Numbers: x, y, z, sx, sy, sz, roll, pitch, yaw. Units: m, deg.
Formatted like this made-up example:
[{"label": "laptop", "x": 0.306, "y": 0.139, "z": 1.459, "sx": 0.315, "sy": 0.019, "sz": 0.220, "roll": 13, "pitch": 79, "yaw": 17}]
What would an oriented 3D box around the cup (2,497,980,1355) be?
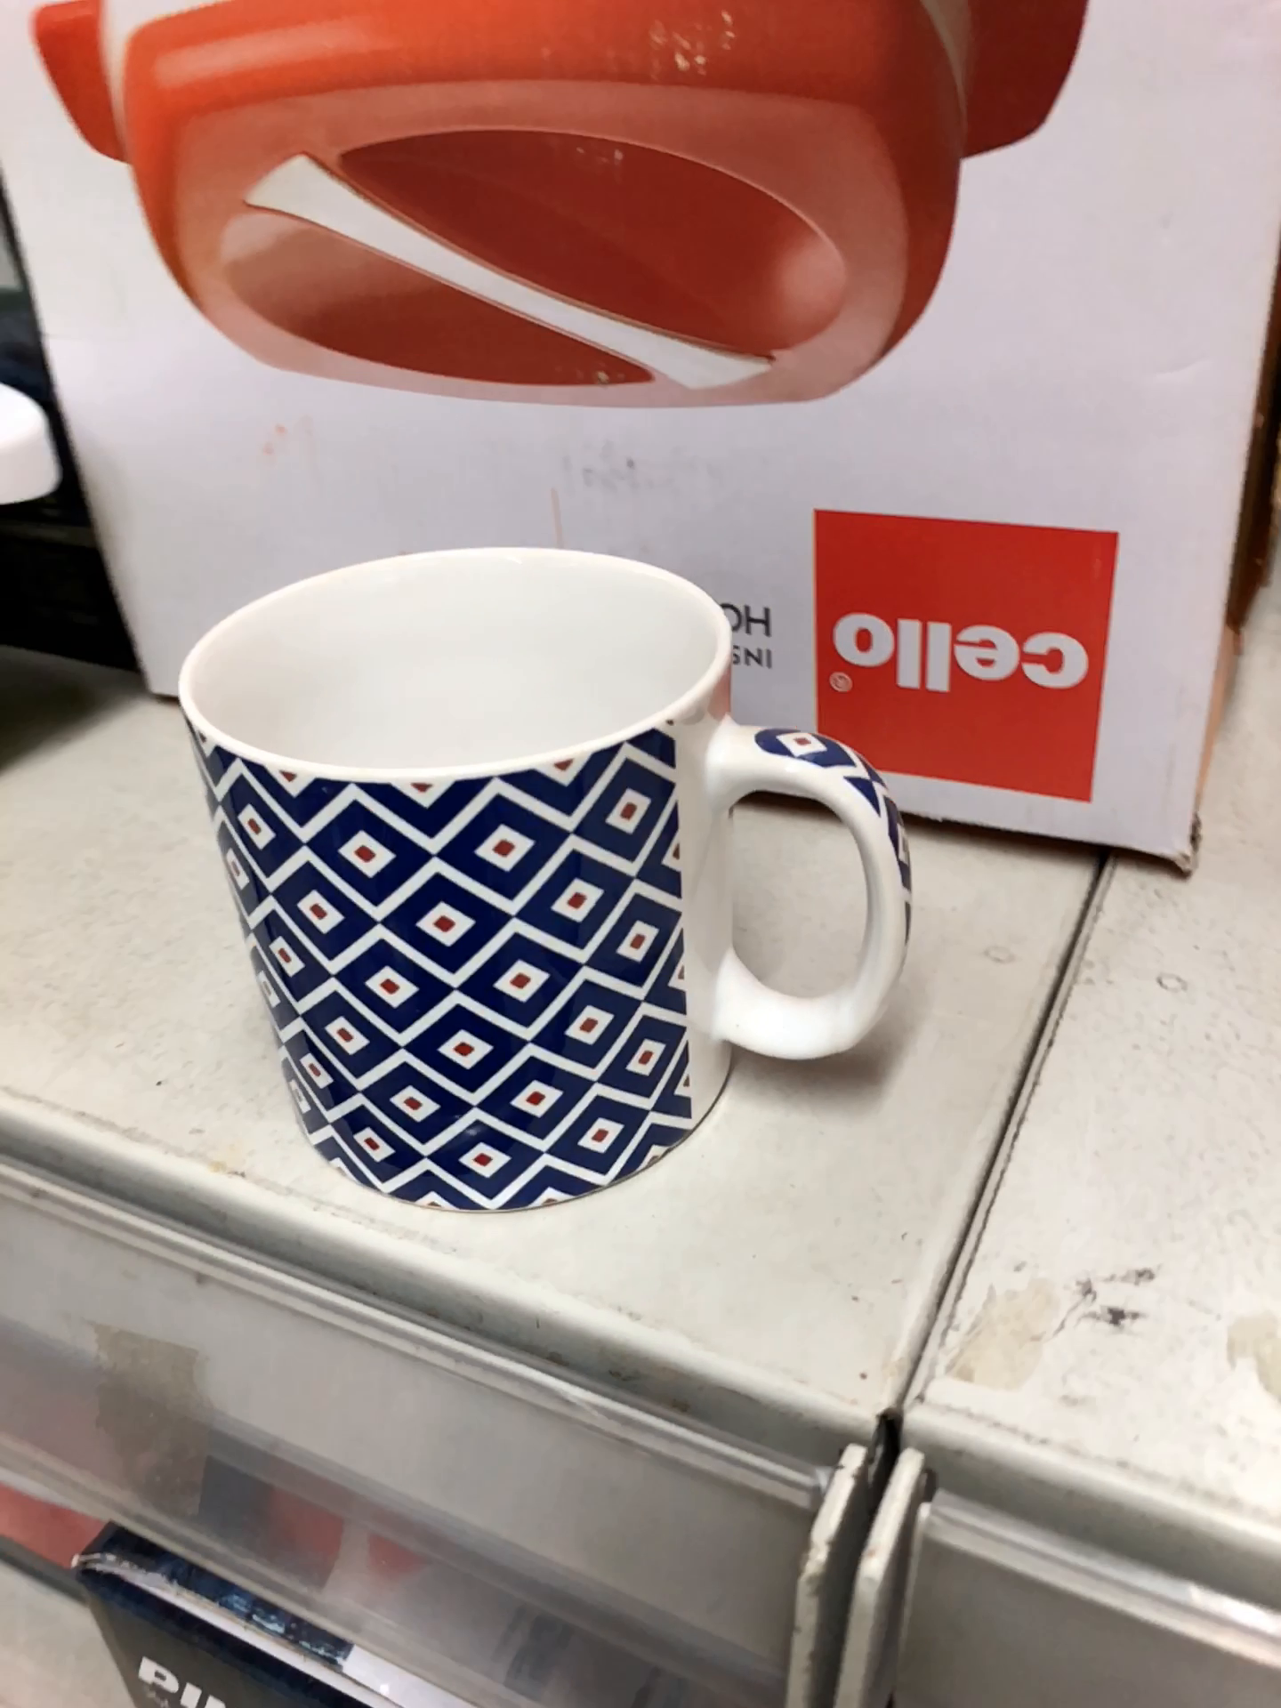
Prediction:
[{"label": "cup", "x": -0.015, "y": 0.002, "z": 0.219, "sx": 0.110, "sy": 0.079, "sz": 0.081, "roll": 11, "pitch": 35, "yaw": 24}]
